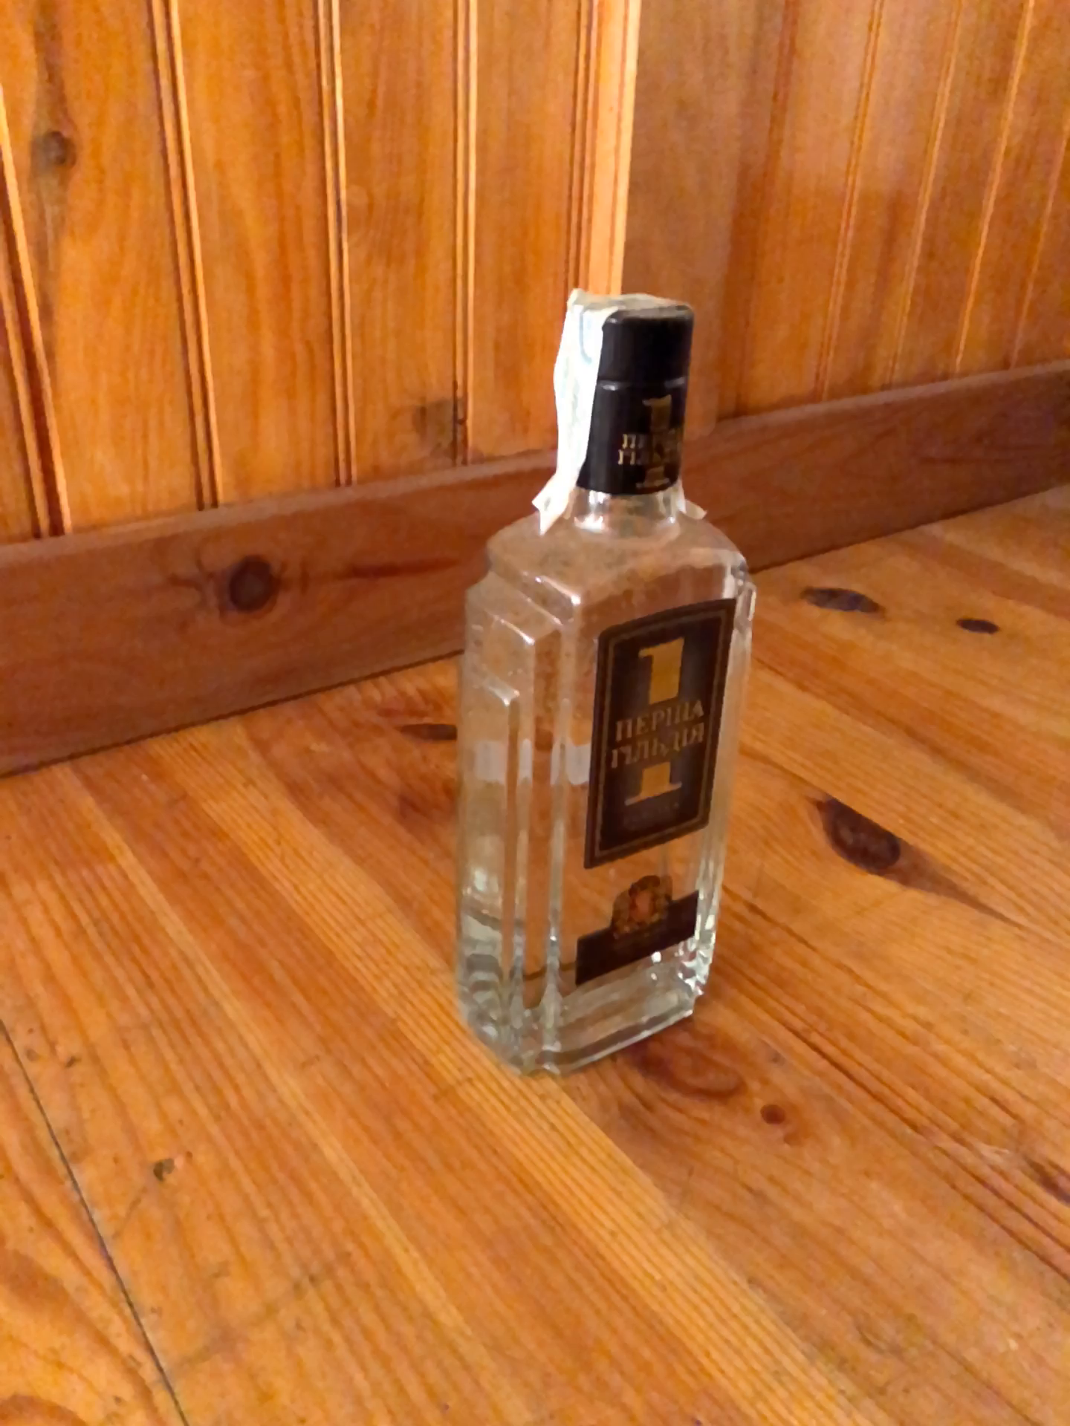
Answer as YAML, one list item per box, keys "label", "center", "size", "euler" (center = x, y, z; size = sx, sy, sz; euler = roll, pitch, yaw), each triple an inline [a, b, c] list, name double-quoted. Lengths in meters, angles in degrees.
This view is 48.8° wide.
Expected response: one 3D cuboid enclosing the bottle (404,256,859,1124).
- label: "bottle"
  center: [0.020, -0.002, 0.361]
  size: [0.100, 0.249, 0.060]
  euler: [-14, 33, -27]
